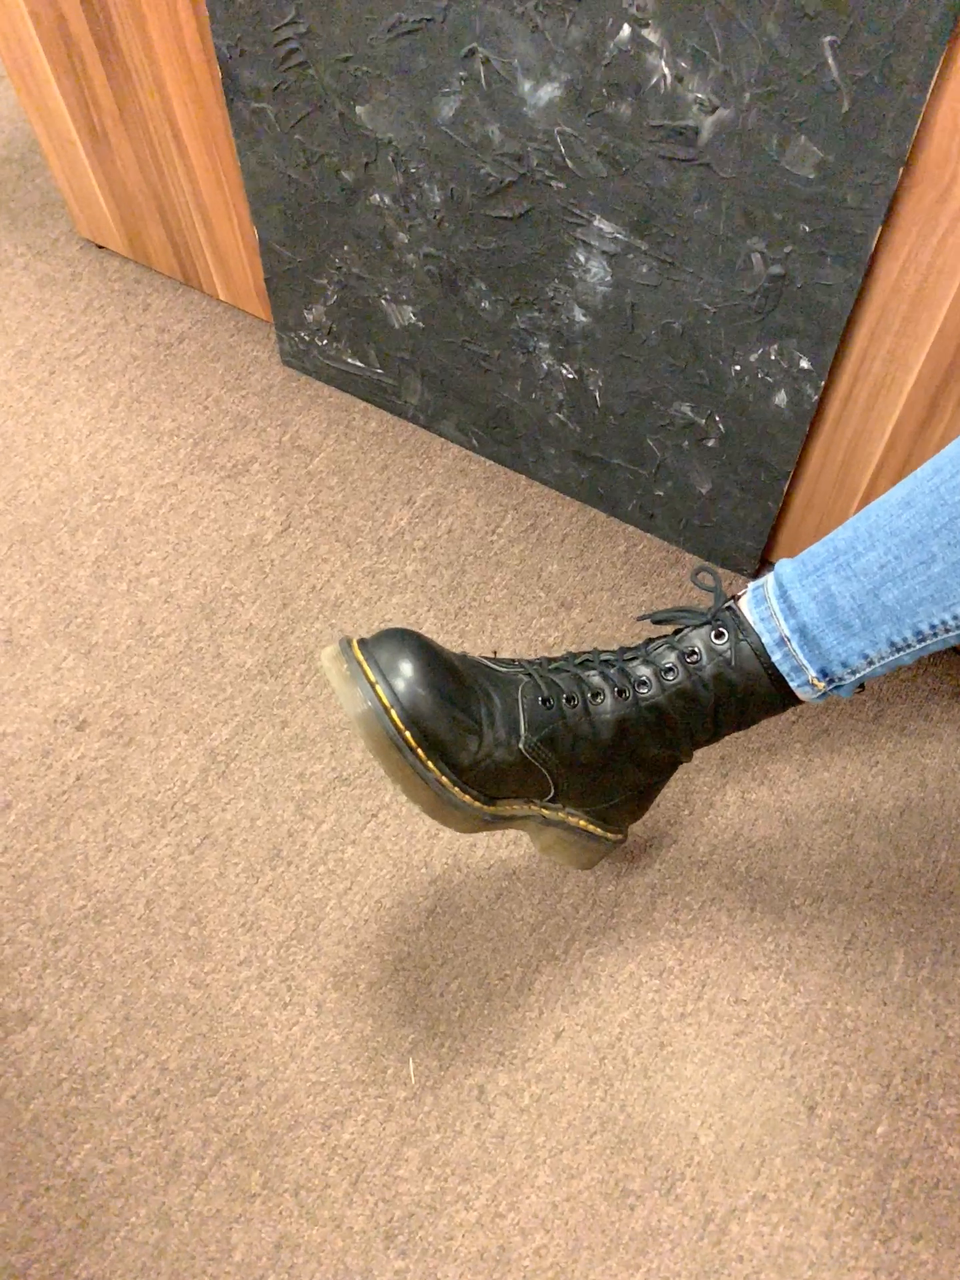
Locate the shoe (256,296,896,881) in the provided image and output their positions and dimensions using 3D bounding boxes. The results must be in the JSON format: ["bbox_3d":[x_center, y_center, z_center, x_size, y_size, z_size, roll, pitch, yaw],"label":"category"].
[{"bbox_3d":[0.090,0.015,0.577,0.230,0.369,0.120,-35,60,13],"label":"shoe"}]
